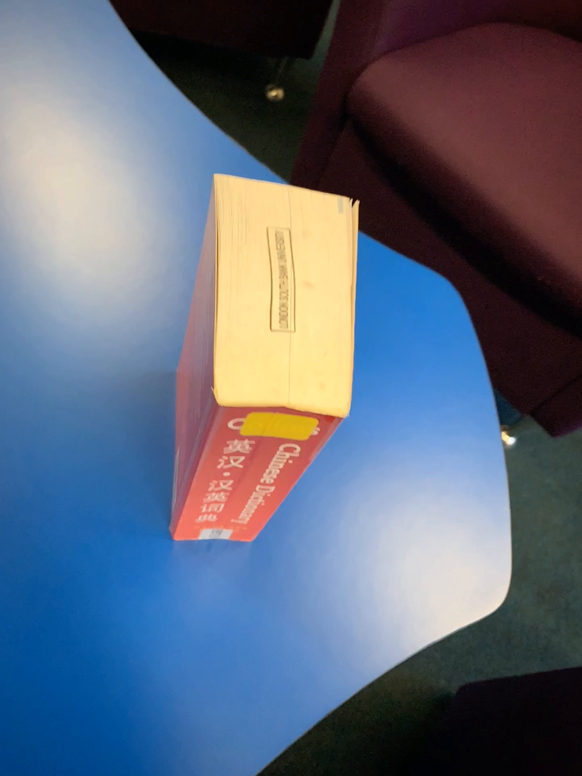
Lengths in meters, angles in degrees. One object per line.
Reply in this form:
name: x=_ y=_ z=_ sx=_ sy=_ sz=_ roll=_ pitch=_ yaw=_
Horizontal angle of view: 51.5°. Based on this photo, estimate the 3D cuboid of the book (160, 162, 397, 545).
book: x=-0.025 y=-0.002 z=0.365 sx=0.080 sy=0.199 sz=0.141 roll=5 pitch=60 yaw=-16
